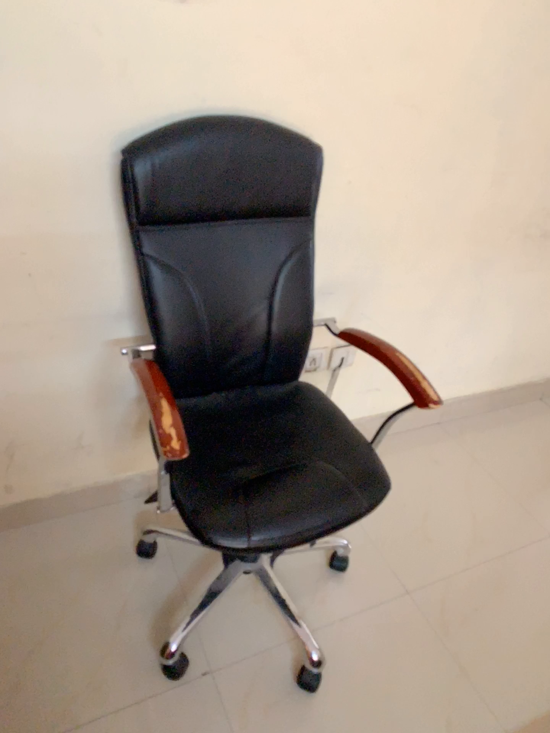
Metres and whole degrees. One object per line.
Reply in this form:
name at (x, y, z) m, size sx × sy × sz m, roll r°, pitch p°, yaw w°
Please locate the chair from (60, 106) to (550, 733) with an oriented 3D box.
chair at (-0.020, 0.101, 1.243) m, size 0.701 × 1.080 × 0.755 m, roll -8°, pitch 37°, yaw -24°
